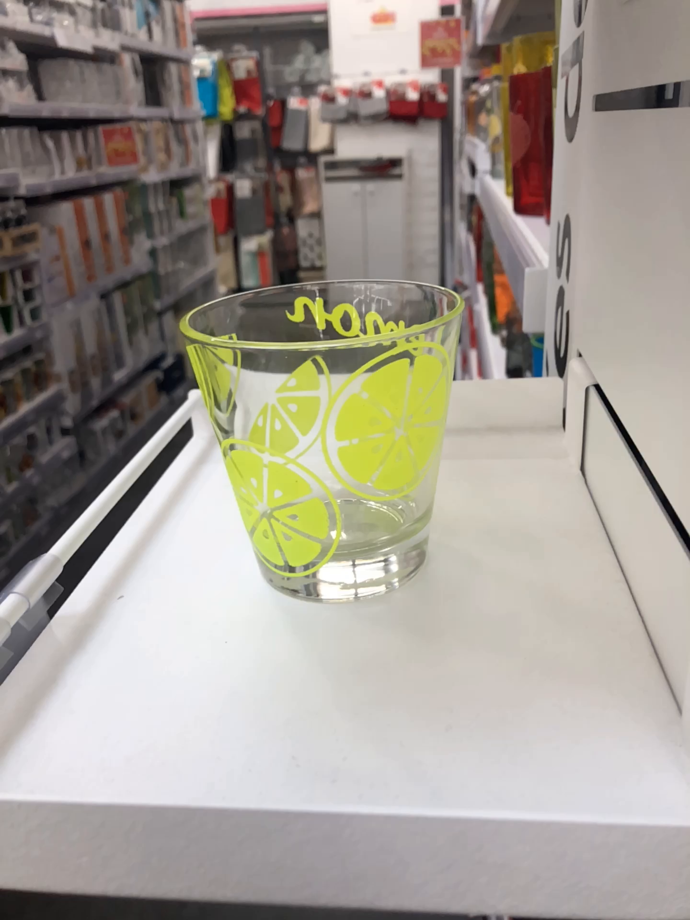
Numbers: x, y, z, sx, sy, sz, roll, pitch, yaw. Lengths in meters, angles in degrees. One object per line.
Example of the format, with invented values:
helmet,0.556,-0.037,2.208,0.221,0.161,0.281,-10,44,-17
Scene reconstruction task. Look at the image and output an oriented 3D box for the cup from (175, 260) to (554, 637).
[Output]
cup,0.001,-0.011,0.227,0.084,0.075,0.080,-3,24,1
